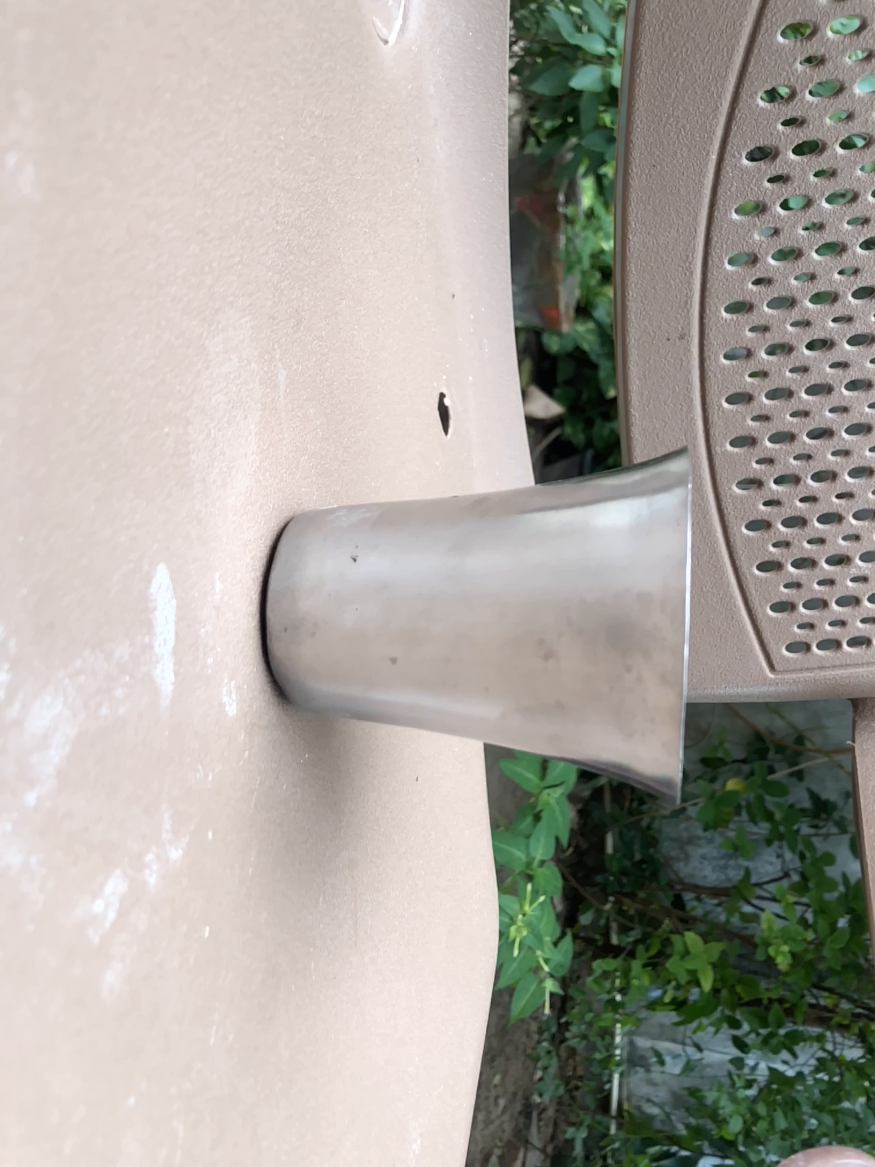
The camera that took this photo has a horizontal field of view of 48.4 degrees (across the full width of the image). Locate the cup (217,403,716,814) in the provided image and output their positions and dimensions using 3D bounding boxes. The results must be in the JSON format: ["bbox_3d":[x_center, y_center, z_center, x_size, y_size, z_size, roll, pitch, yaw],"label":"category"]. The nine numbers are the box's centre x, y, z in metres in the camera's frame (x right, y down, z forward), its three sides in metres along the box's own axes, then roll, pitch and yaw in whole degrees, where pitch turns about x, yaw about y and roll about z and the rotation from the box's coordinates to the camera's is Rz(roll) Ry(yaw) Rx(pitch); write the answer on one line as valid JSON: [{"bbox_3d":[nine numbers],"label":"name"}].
[{"bbox_3d":[0.013,0.006,0.236,0.070,0.099,0.080,23,71,-73],"label":"cup"}]
